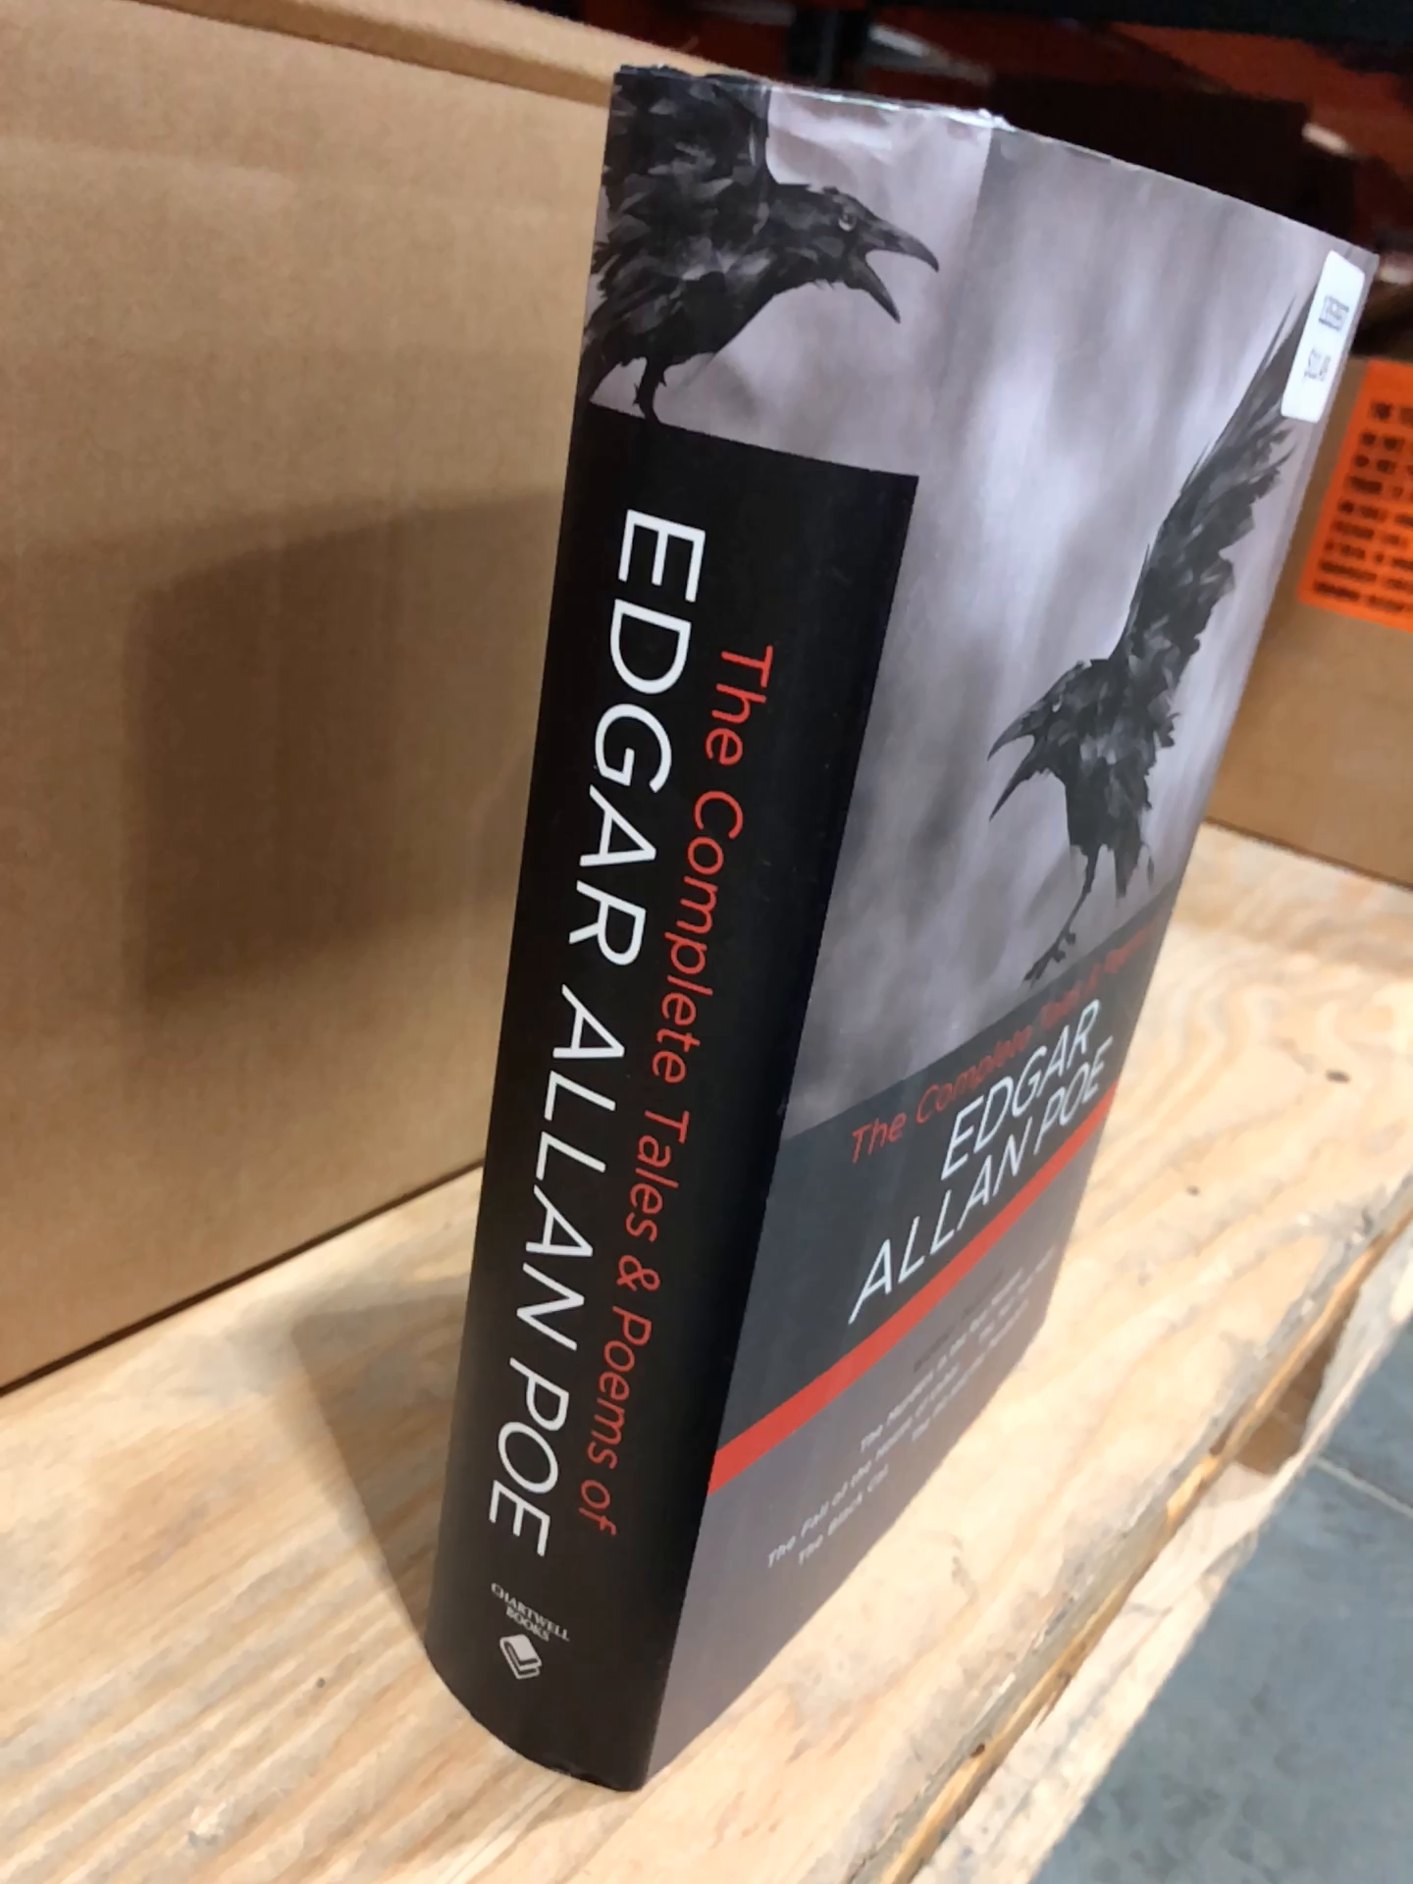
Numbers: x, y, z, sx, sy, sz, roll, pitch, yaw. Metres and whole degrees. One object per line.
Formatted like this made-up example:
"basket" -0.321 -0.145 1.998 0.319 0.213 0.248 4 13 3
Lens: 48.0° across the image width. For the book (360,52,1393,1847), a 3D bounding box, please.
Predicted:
"book" 0.032 -0.001 0.275 0.054 0.240 0.172 24 27 26
